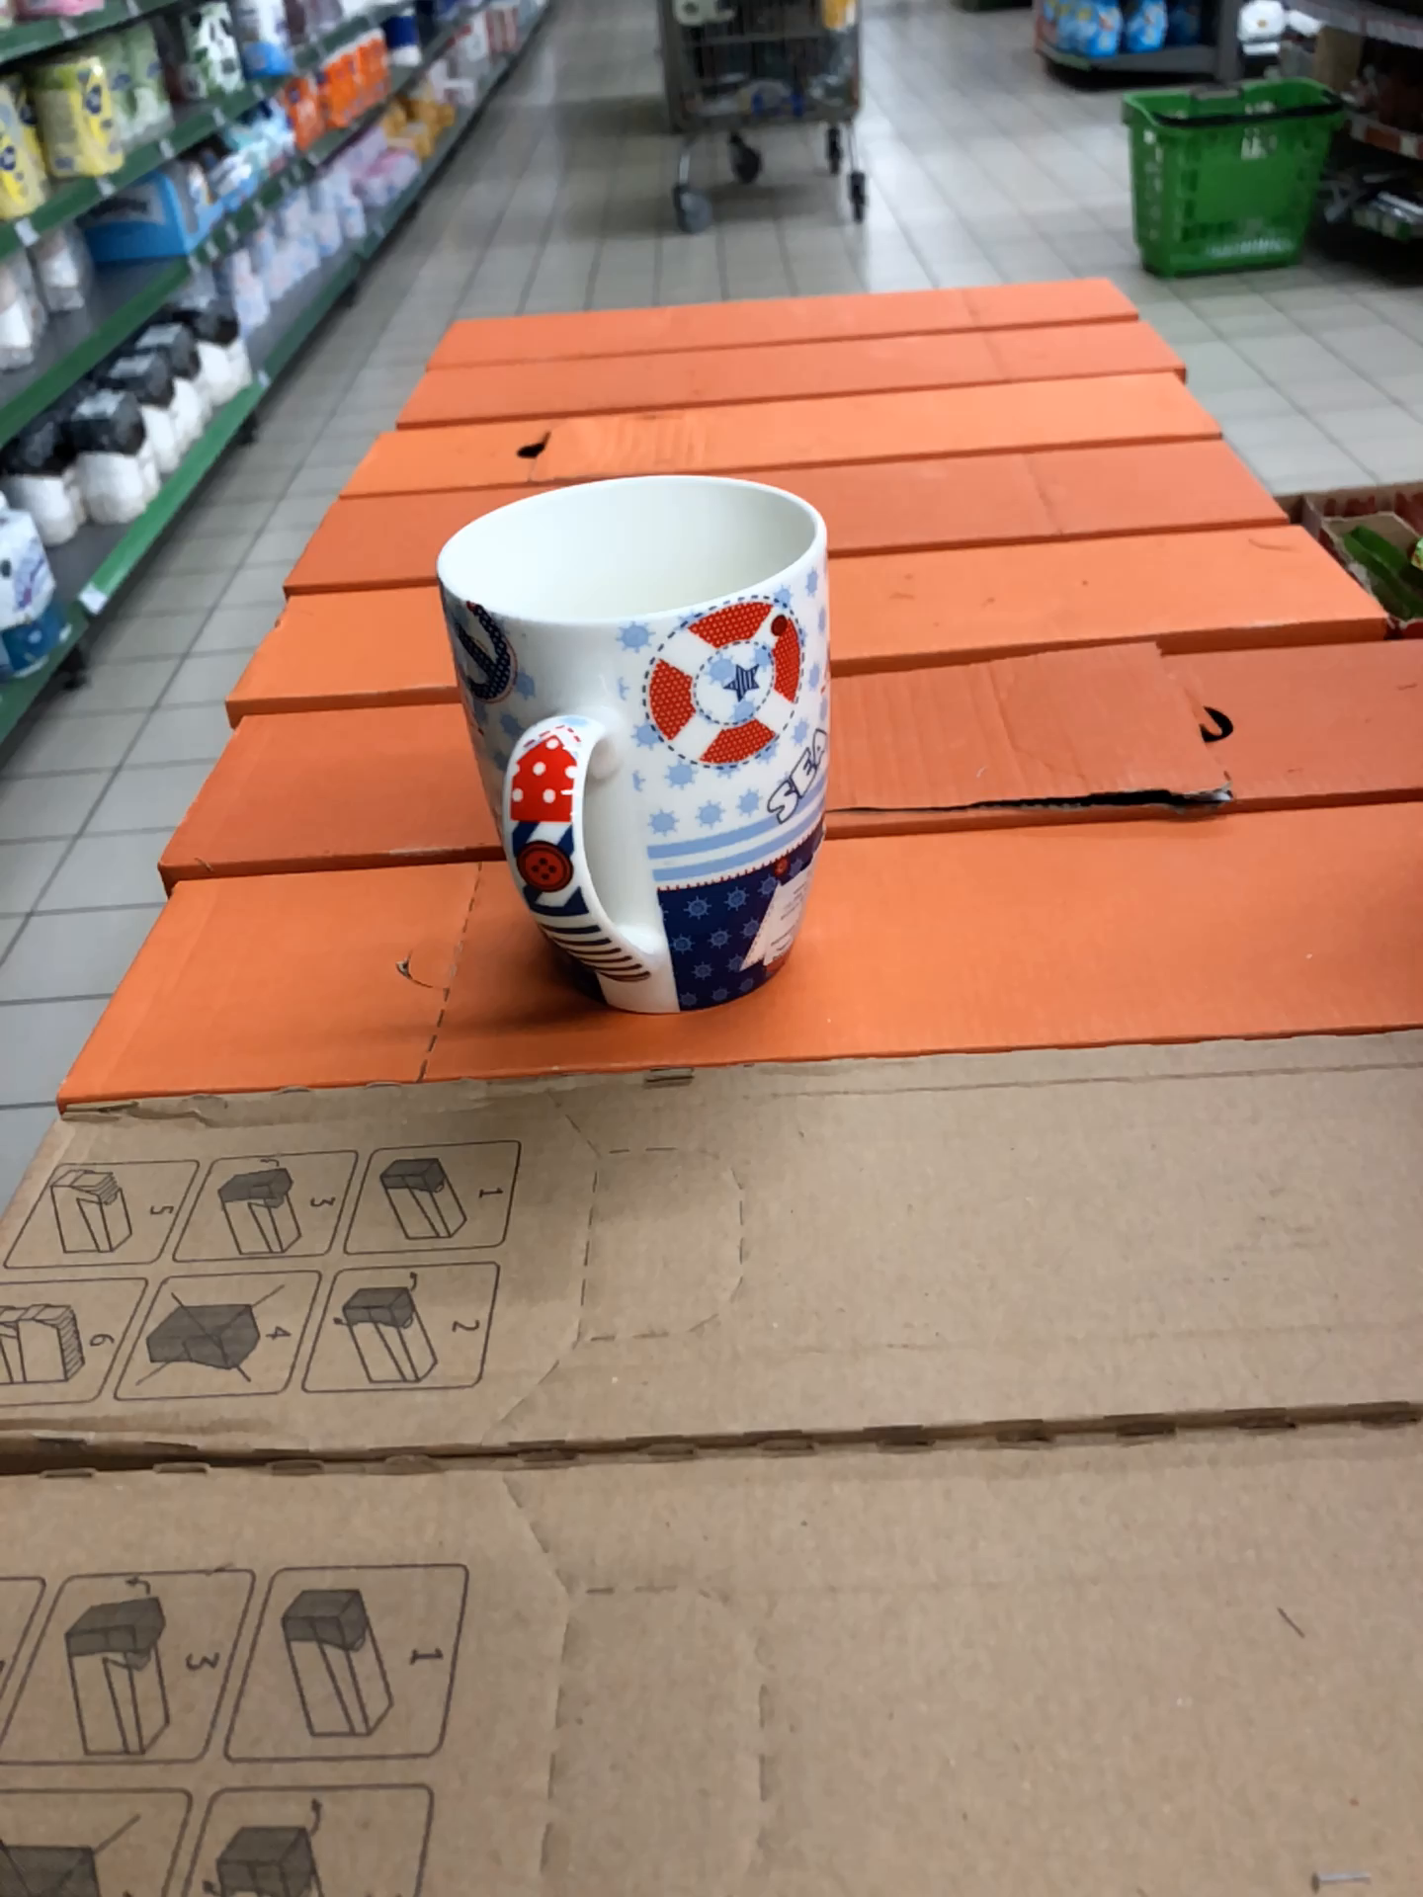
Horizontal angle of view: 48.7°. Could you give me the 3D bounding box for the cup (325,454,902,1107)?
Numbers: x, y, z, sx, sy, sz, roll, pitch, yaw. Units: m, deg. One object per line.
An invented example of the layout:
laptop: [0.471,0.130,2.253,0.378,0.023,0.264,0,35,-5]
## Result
cup: [-0.010,-0.041,0.339,0.086,0.092,0.113,3,36,14]
